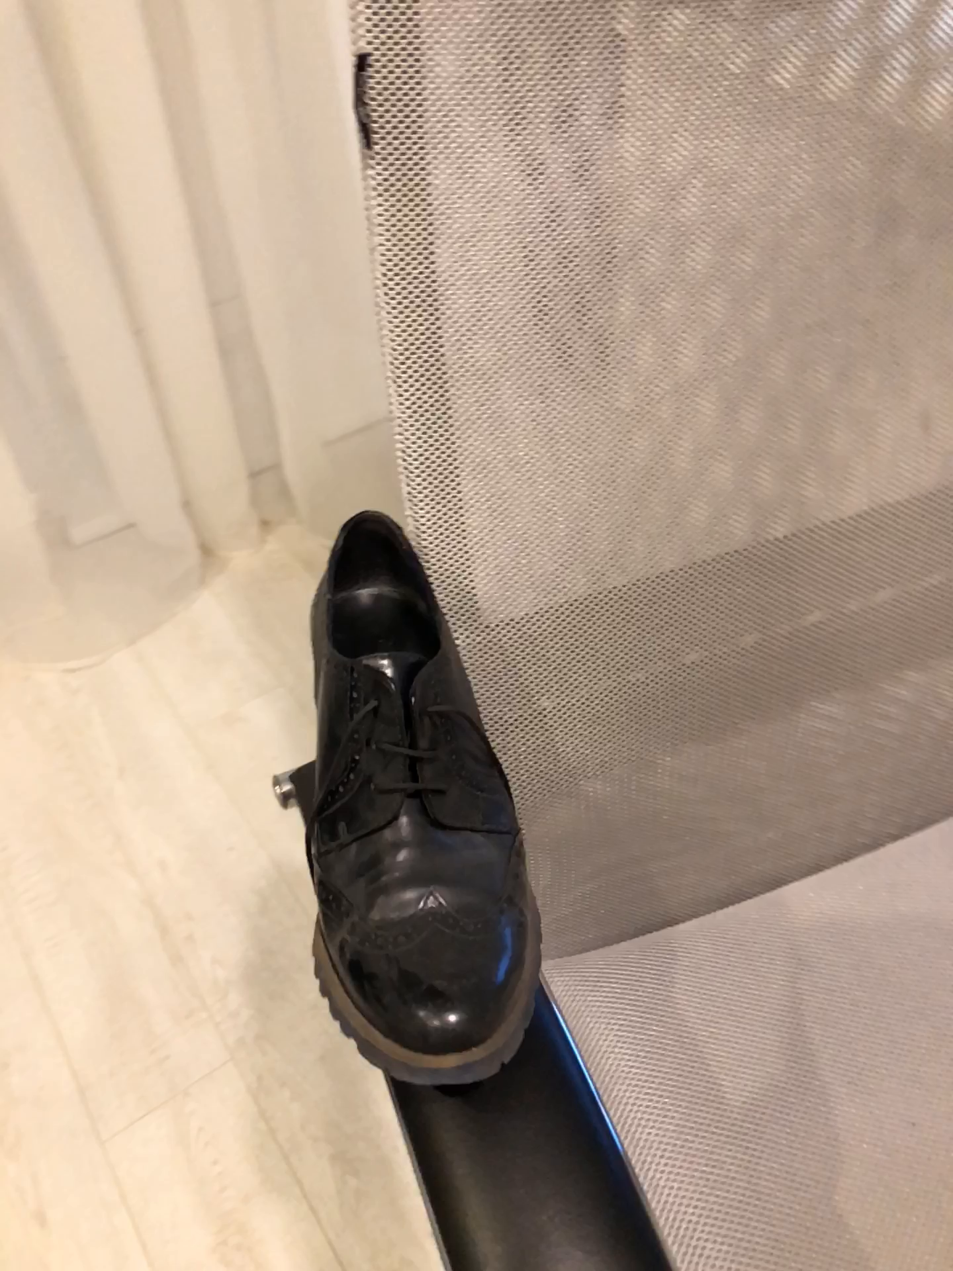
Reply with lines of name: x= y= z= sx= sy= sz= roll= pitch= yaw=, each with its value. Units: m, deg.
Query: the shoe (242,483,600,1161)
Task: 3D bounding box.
shoe: x=-0.033 y=0.054 z=0.435 sx=0.100 sy=0.119 sz=0.252 roll=-10 pitch=36 yaw=-5
